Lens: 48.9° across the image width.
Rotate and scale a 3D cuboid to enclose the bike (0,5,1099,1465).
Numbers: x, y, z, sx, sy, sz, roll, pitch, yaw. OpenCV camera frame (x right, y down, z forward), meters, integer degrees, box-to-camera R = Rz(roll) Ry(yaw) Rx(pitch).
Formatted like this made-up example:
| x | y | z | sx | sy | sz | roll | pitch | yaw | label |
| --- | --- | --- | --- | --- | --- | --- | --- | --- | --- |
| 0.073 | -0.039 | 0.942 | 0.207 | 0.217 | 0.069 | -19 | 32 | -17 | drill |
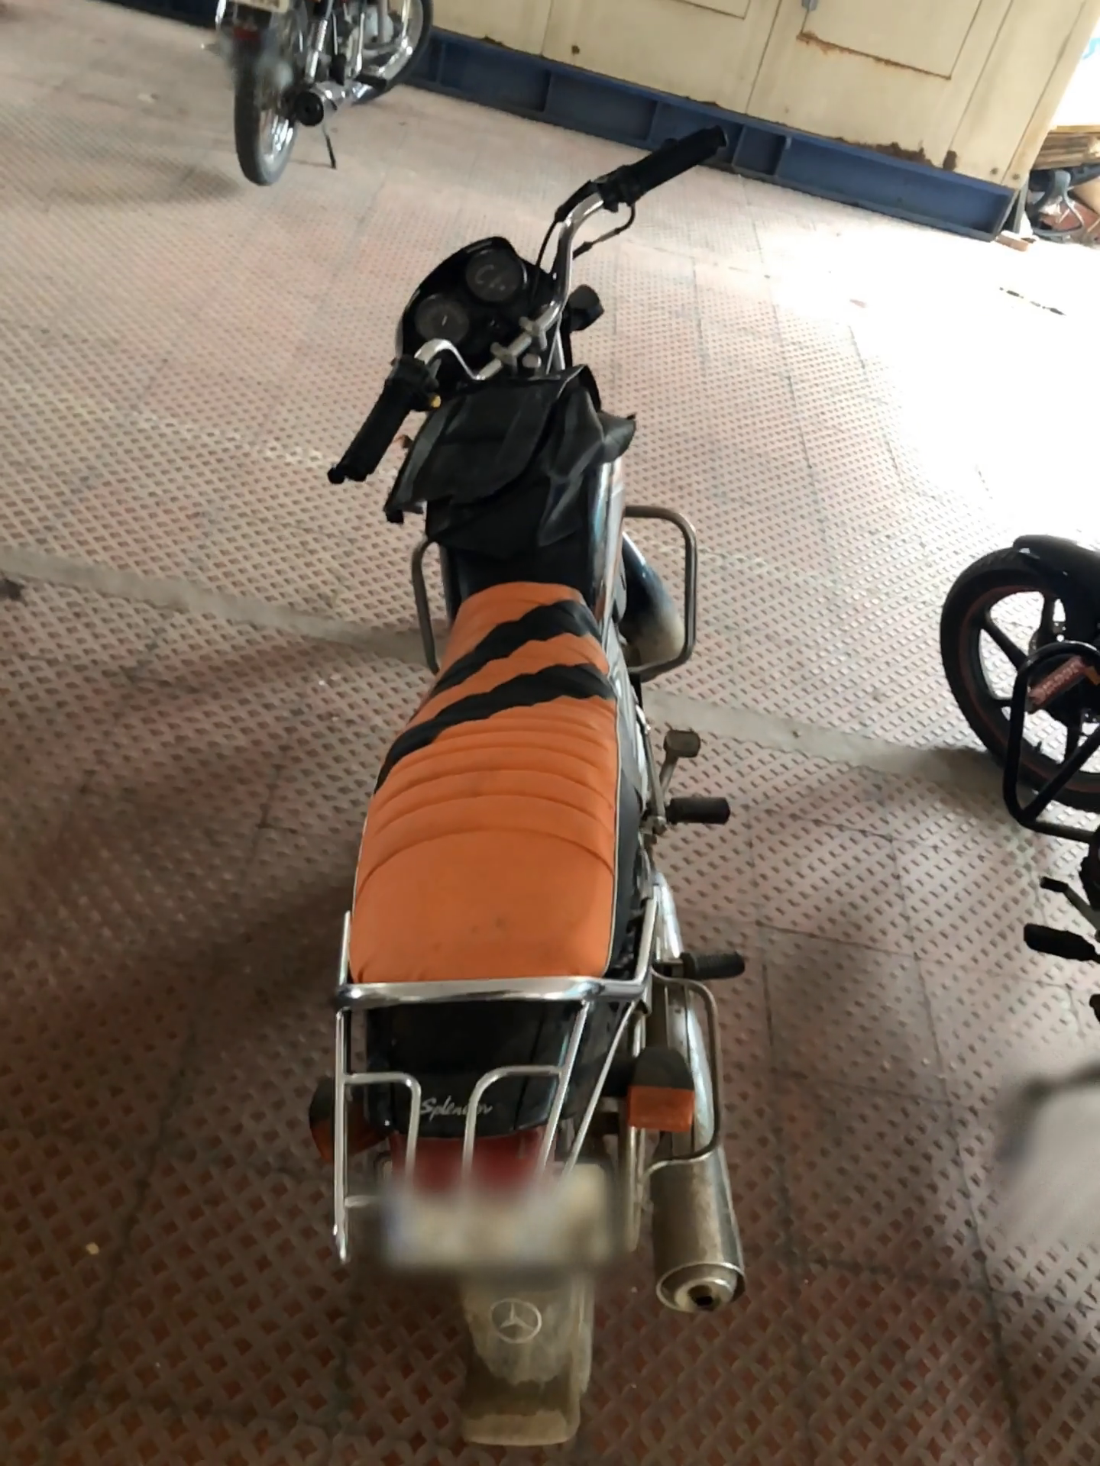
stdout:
| x | y | z | sx | sy | sz | roll | pitch | yaw | label |
| --- | --- | --- | --- | --- | --- | --- | --- | --- | --- |
| -0.154 | -0.059 | 1.538 | 0.688 | 1.123 | 1.410 | 8 | 41 | -12 | bike |
